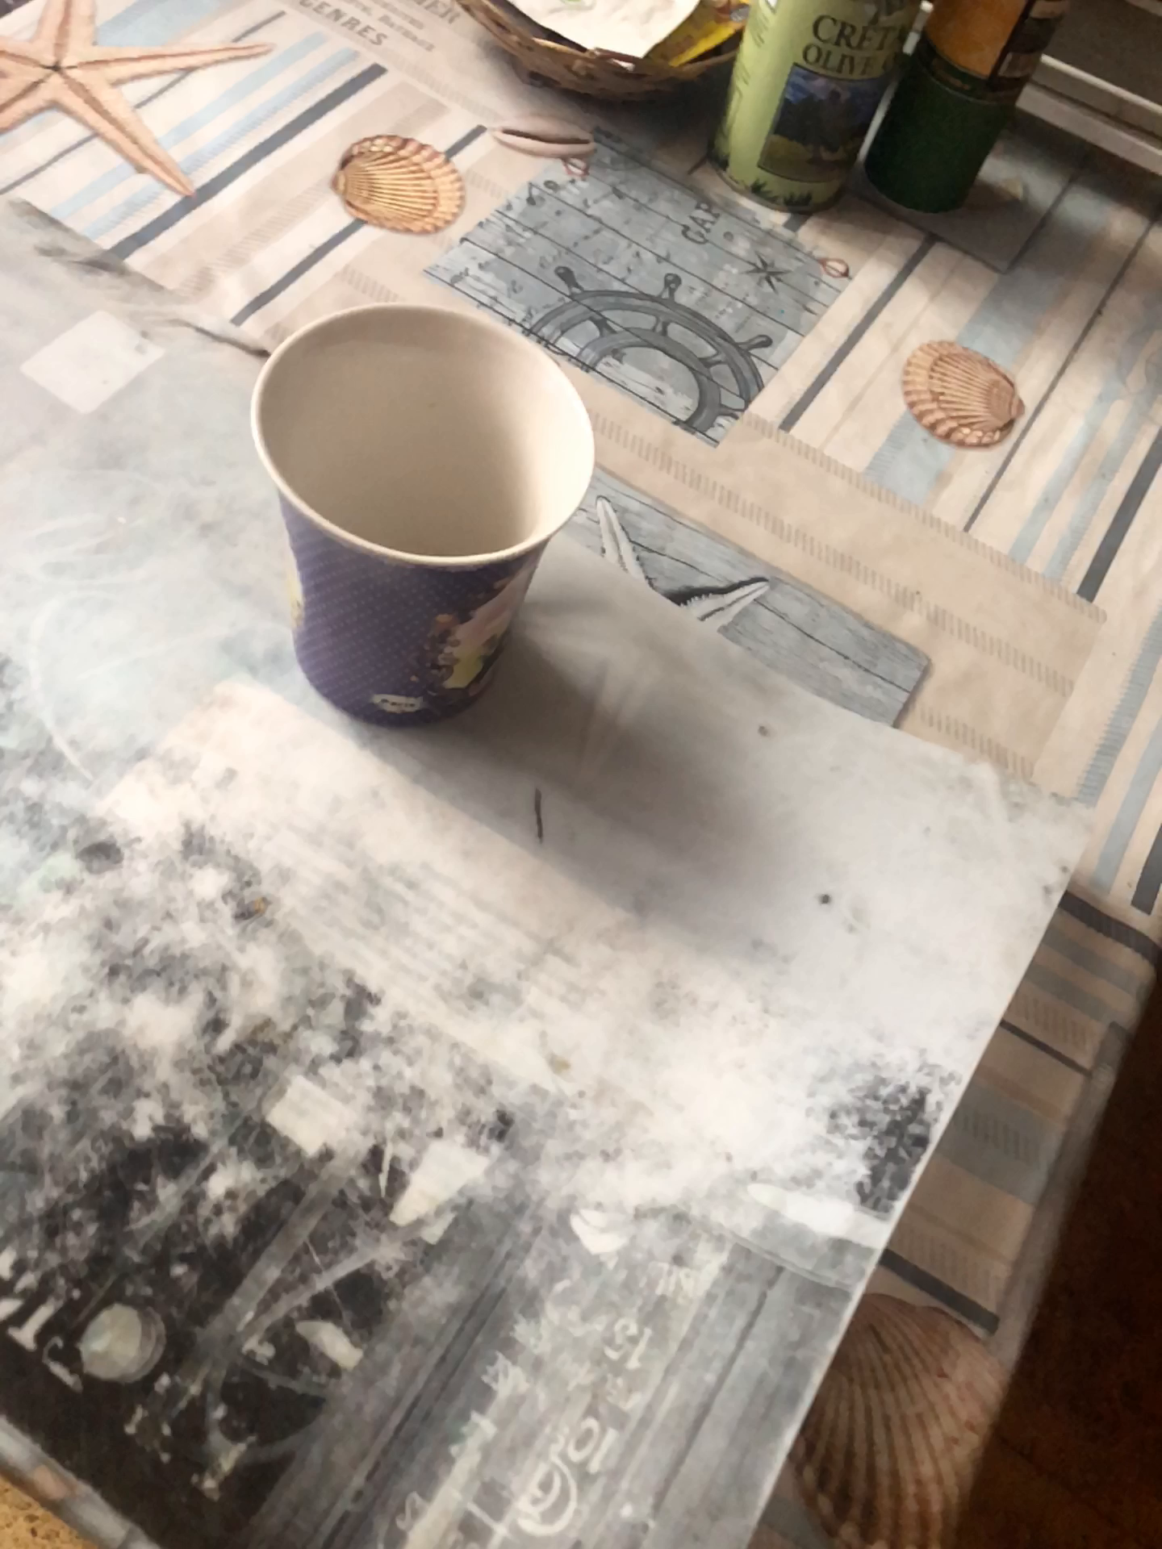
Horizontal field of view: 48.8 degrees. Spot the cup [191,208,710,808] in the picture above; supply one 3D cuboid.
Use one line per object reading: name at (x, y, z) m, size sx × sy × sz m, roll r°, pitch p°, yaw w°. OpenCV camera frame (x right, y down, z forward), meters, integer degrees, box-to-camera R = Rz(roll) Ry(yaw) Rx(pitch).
cup at (-0.036, -0.076, 0.368) m, size 0.090 × 0.085 × 0.120 m, roll 26°, pitch 58°, yaw 3°
